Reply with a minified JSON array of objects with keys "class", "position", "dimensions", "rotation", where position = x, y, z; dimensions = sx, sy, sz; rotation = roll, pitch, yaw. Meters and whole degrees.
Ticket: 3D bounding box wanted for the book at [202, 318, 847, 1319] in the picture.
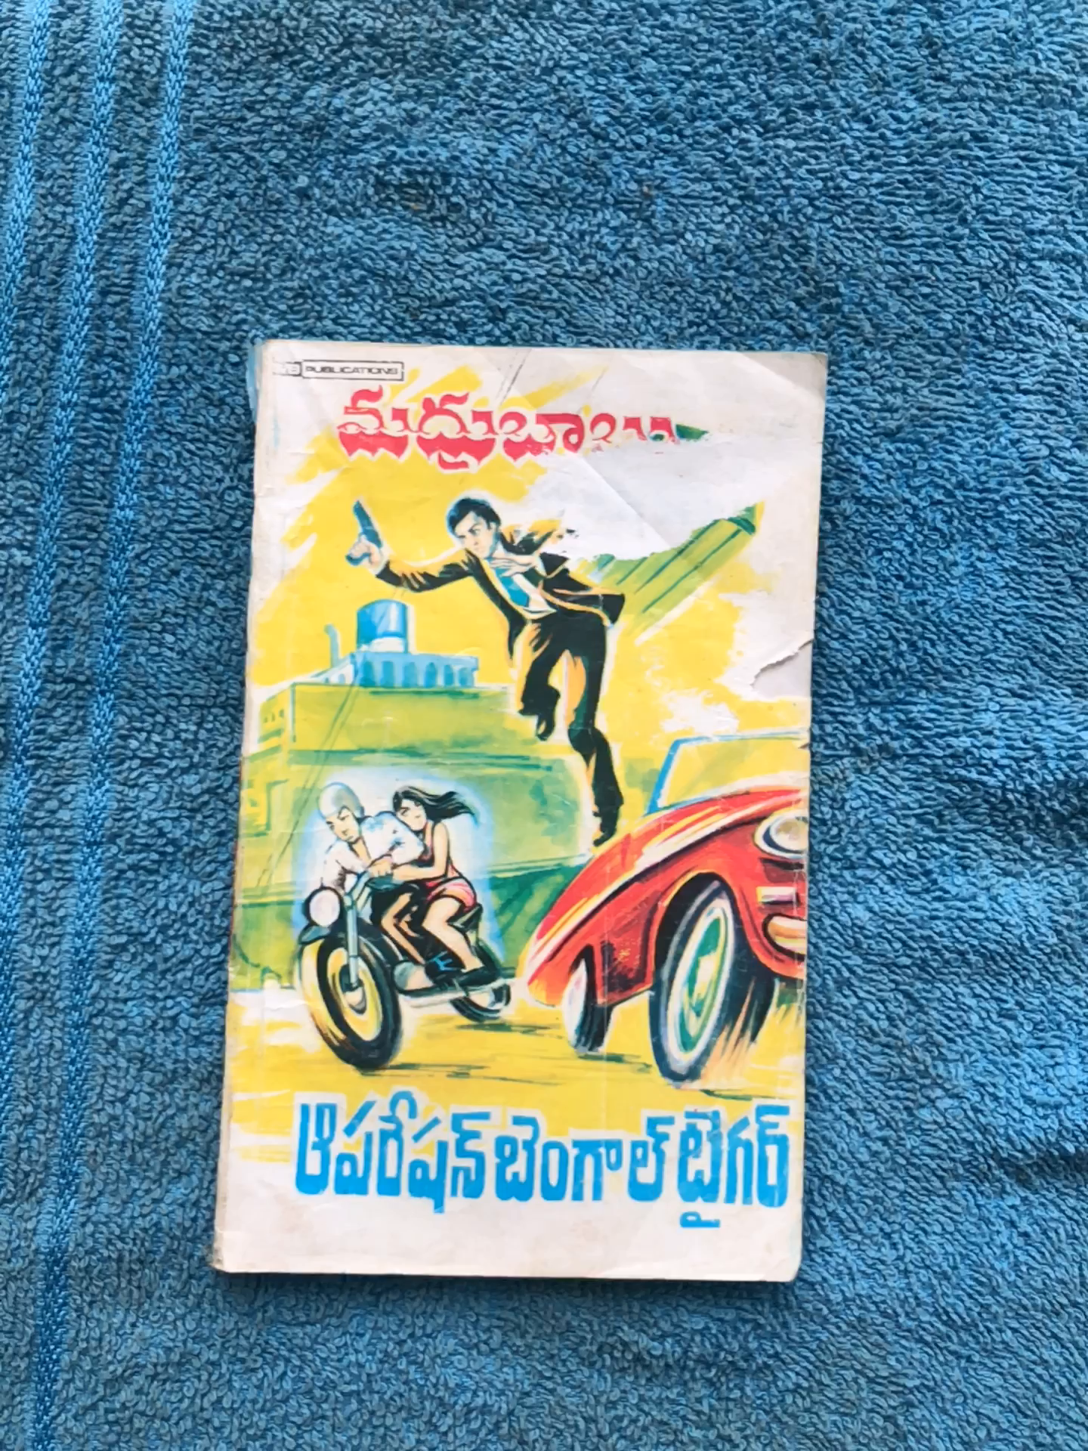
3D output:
[{"class":"book","position":[-0.001,0.014,0.210],"dimensions":[0.100,0.020,0.160],"rotation":[2,84,-2]}]
